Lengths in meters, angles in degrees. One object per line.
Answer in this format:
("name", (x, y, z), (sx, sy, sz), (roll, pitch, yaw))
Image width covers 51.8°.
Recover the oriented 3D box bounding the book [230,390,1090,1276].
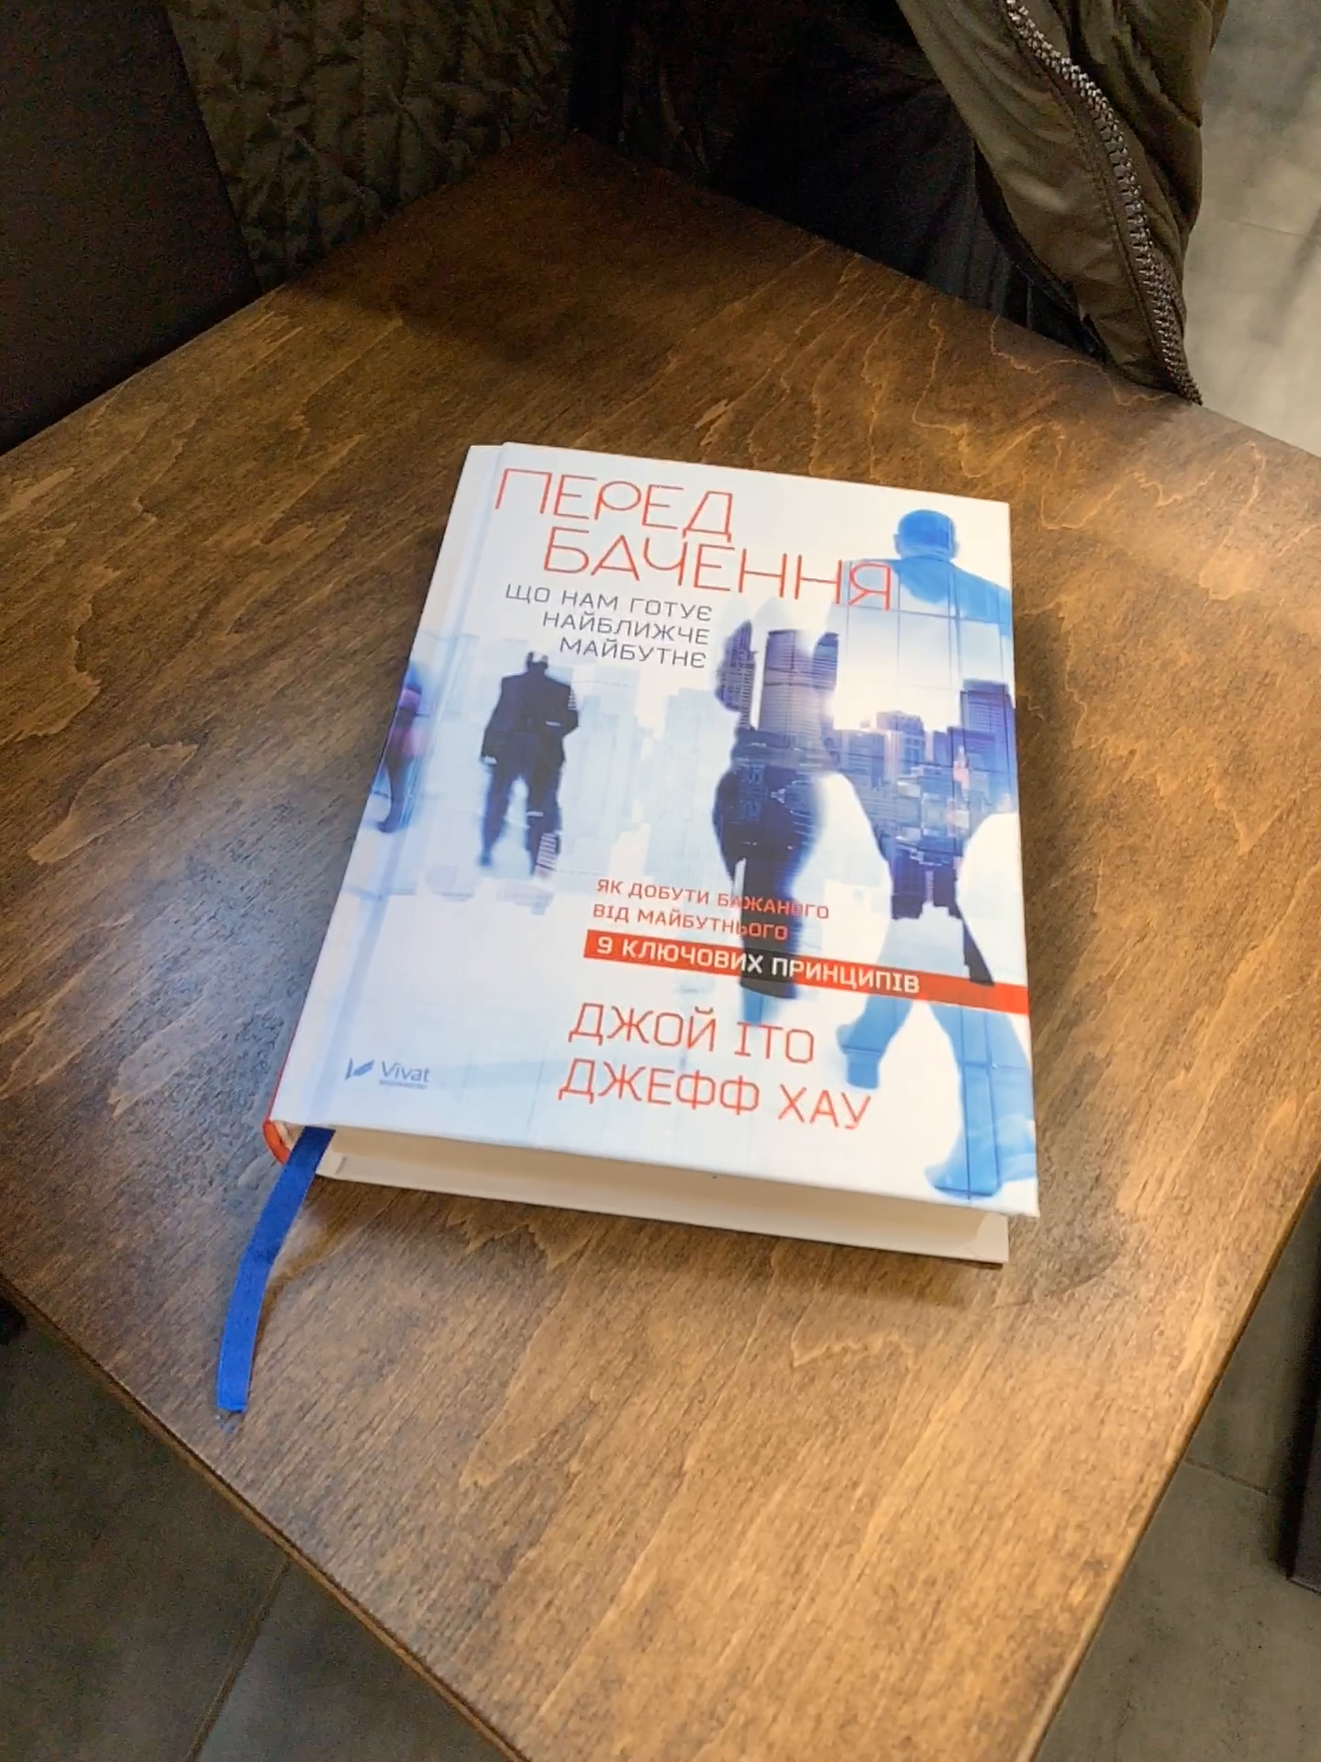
("book", (0.010, -0.024, 0.305), (0.149, 0.040, 0.196), (7, 55, 1))
